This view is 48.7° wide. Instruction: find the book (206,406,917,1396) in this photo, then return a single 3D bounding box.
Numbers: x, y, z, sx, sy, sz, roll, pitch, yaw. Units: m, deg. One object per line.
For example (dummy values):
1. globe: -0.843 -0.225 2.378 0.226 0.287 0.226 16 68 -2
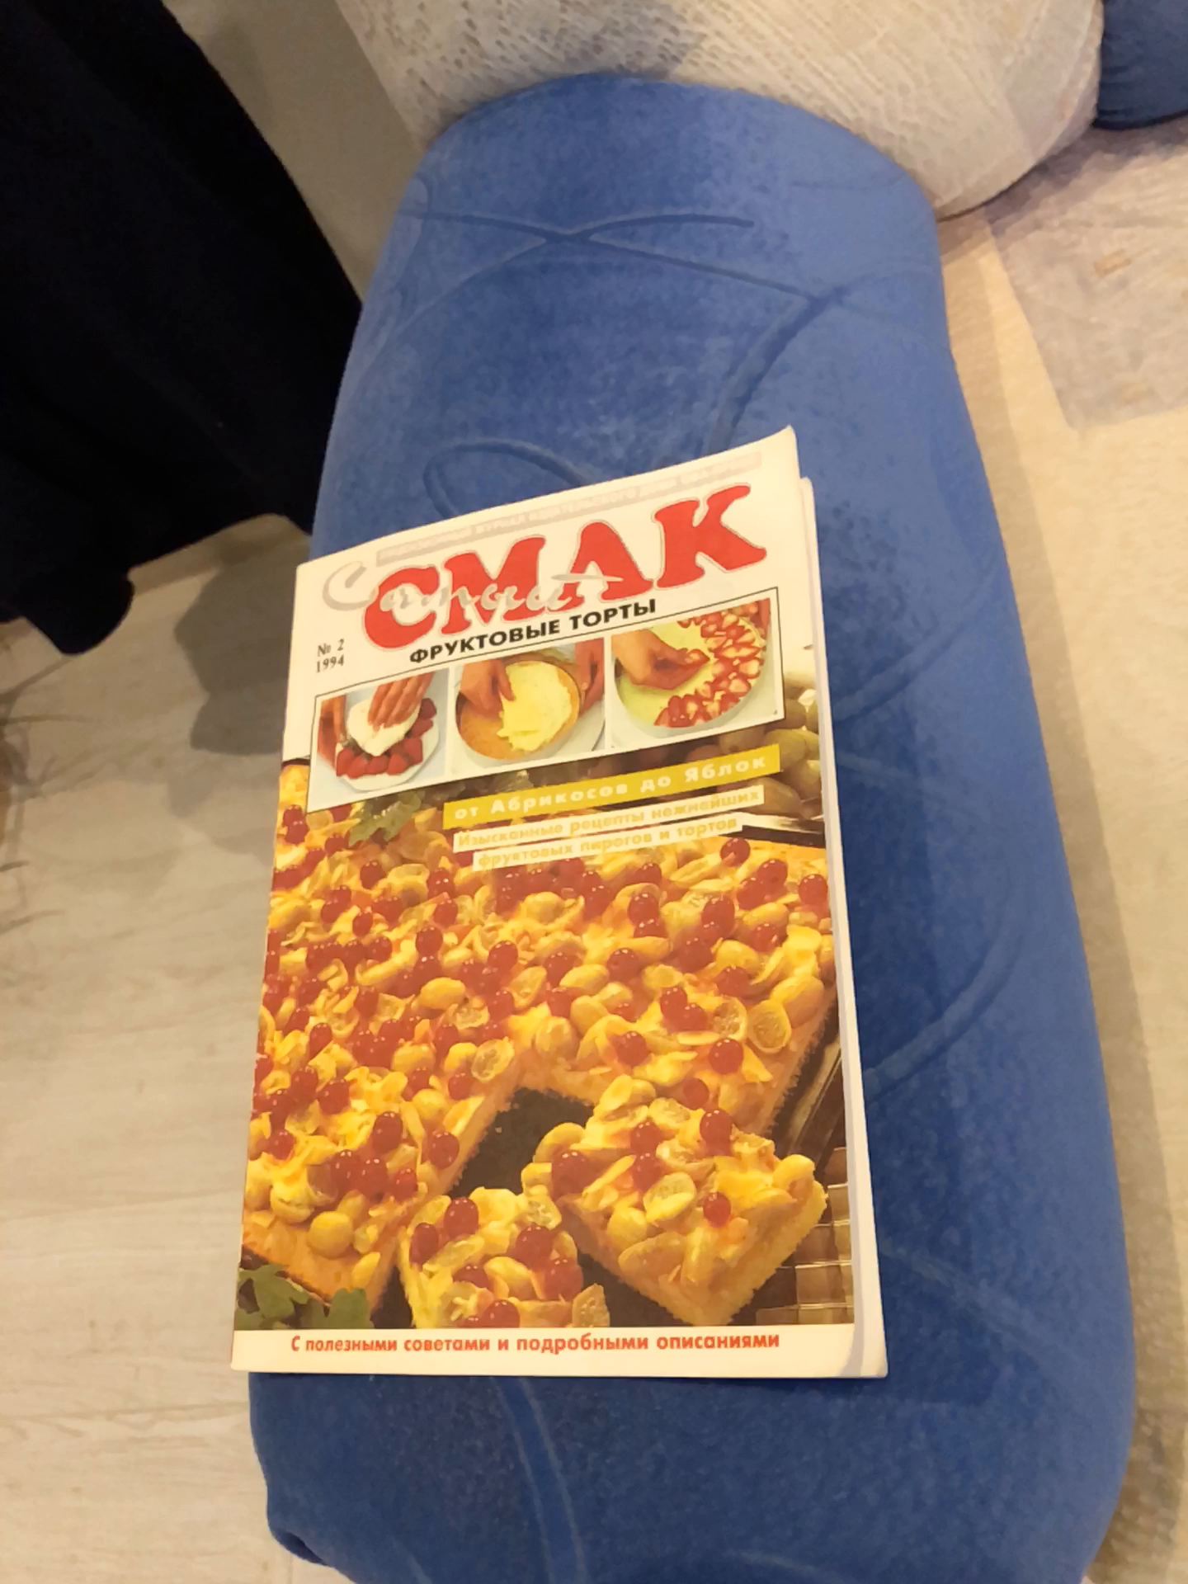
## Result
1. book: -0.016 0.023 0.337 0.172 0.010 0.236 -10 66 23
